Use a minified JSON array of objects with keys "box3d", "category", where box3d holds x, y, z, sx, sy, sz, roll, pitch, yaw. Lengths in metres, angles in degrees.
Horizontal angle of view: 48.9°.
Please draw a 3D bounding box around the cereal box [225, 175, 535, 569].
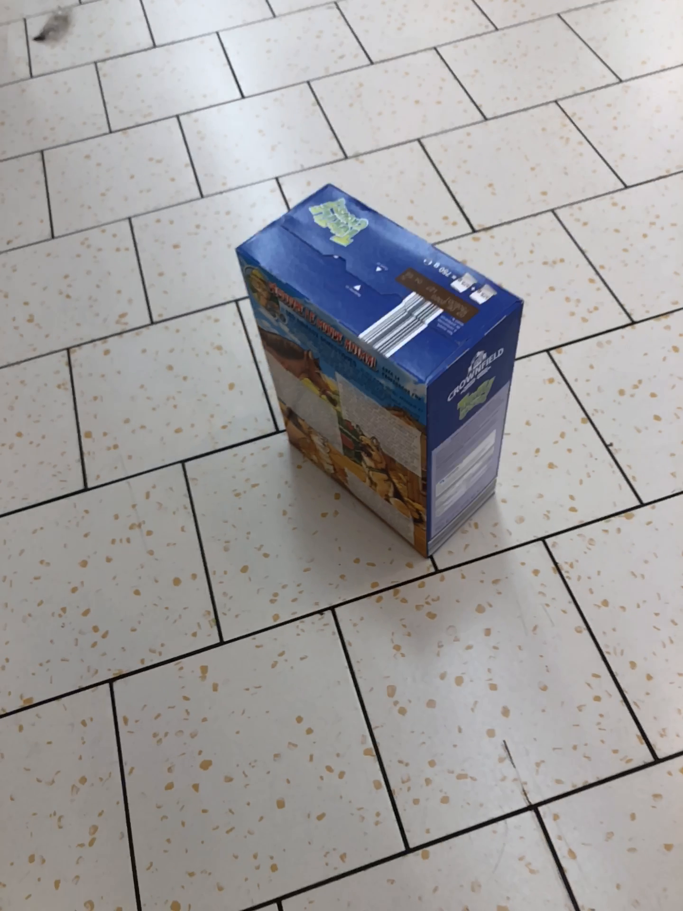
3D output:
[{"box3d":[0.033,-0.058,0.625,0.100,0.259,0.200,-41,61,-19],"category":"cereal box"}]
